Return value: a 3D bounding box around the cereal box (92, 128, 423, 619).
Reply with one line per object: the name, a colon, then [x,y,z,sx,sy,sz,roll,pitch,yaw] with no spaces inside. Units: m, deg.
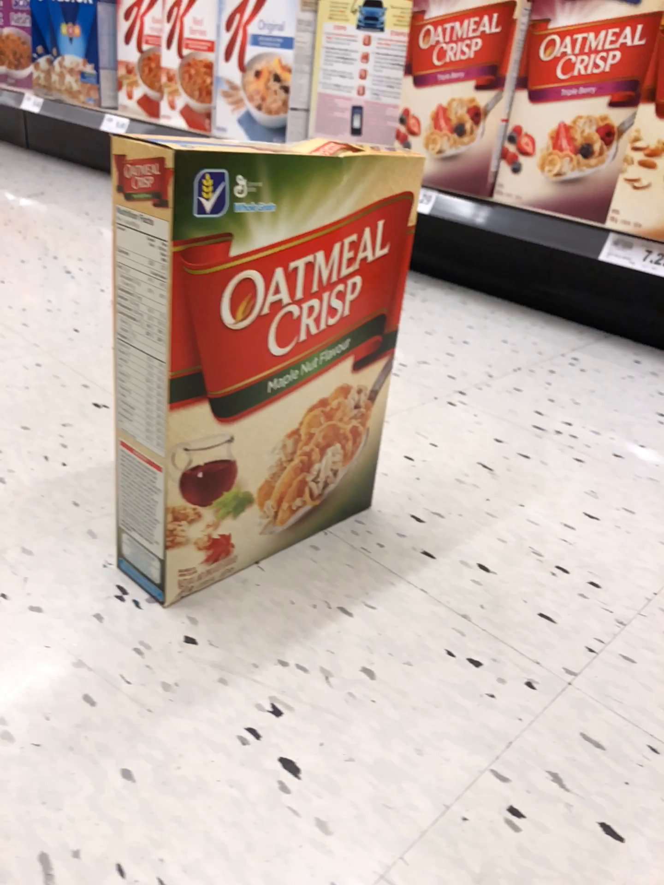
cereal box: [-0.044,-0.048,0.457,0.050,0.259,0.201,27,31,34]
